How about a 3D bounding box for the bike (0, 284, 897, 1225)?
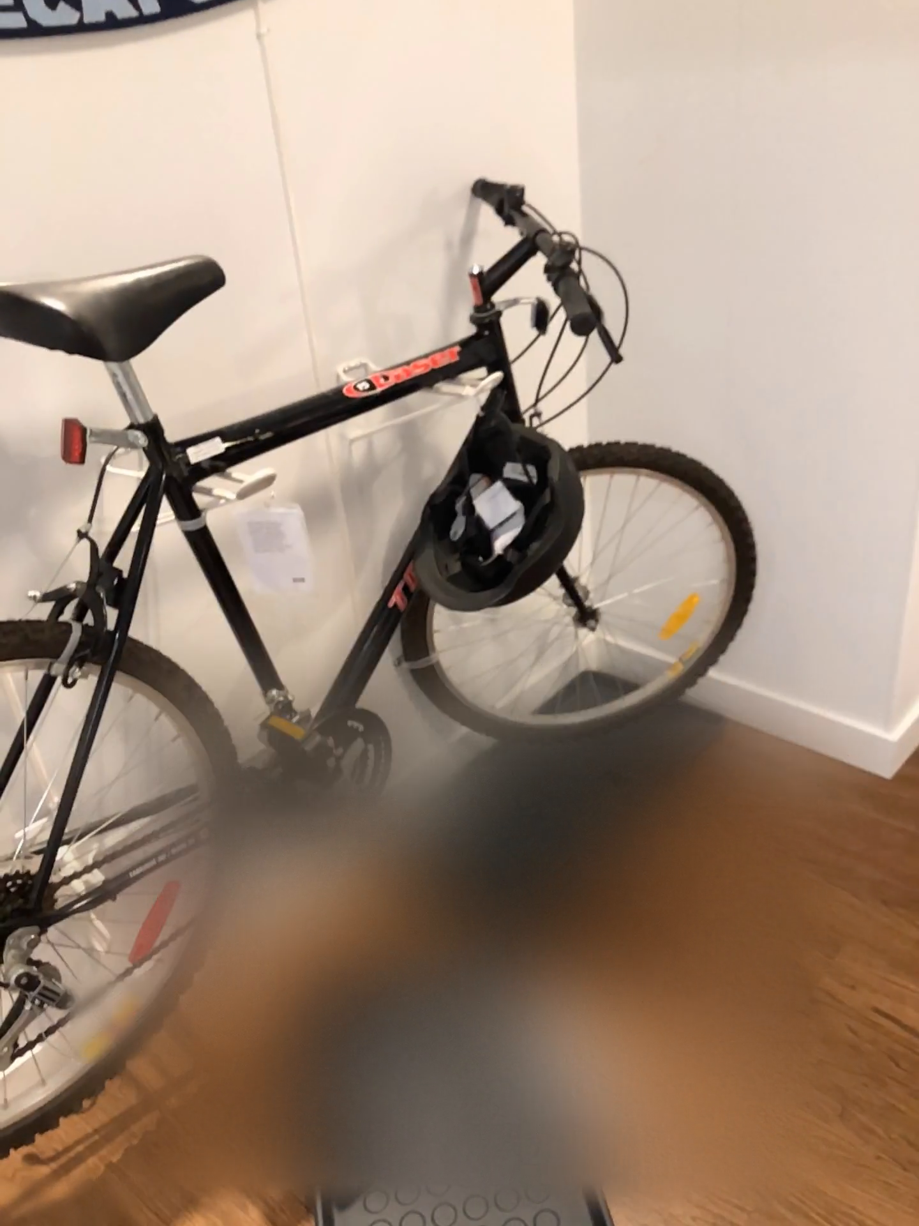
[{"bbox_3d":[-0.128,0.083,1.338,1.568,0.846,0.559,-22,32,-36],"label":"bike"}]
